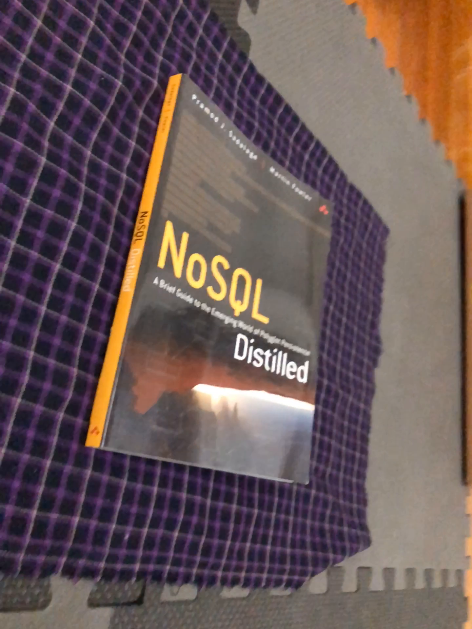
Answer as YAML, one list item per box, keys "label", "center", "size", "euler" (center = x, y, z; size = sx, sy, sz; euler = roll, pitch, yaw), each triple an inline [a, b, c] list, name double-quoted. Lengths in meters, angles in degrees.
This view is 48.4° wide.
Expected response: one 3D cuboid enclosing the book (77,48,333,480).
- label: "book"
  center: [0.003, -0.023, 0.373]
  size: [0.191, 0.020, 0.250]
  euler: [27, 64, -45]
